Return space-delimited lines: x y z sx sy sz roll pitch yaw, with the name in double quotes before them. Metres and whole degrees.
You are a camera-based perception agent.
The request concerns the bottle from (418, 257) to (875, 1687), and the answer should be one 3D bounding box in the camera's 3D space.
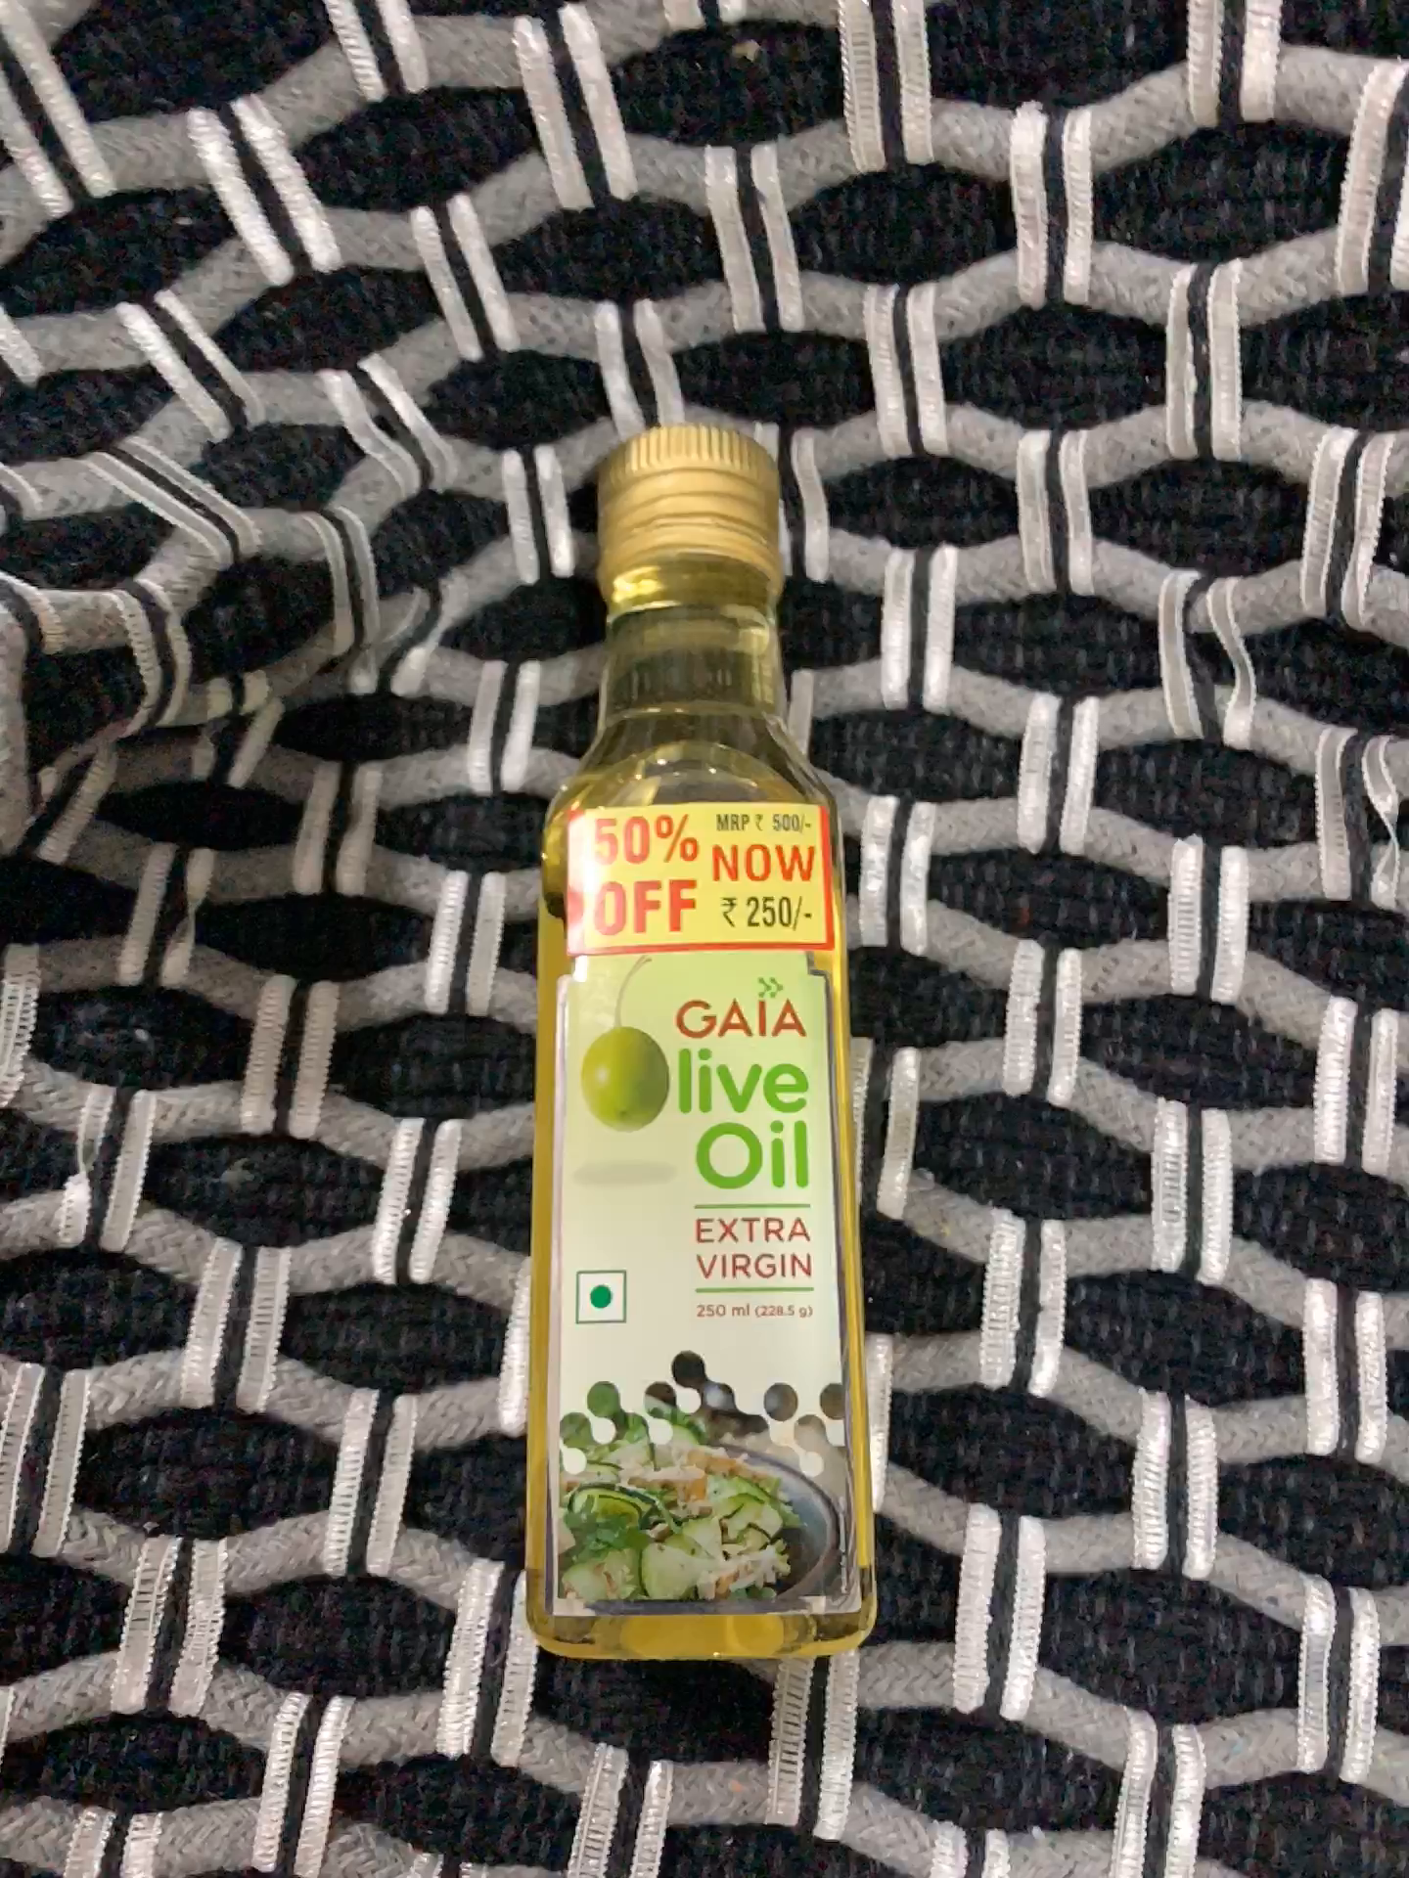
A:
"bottle" -0.005 -0.002 0.212 0.050 0.050 0.190 -1 73 2
